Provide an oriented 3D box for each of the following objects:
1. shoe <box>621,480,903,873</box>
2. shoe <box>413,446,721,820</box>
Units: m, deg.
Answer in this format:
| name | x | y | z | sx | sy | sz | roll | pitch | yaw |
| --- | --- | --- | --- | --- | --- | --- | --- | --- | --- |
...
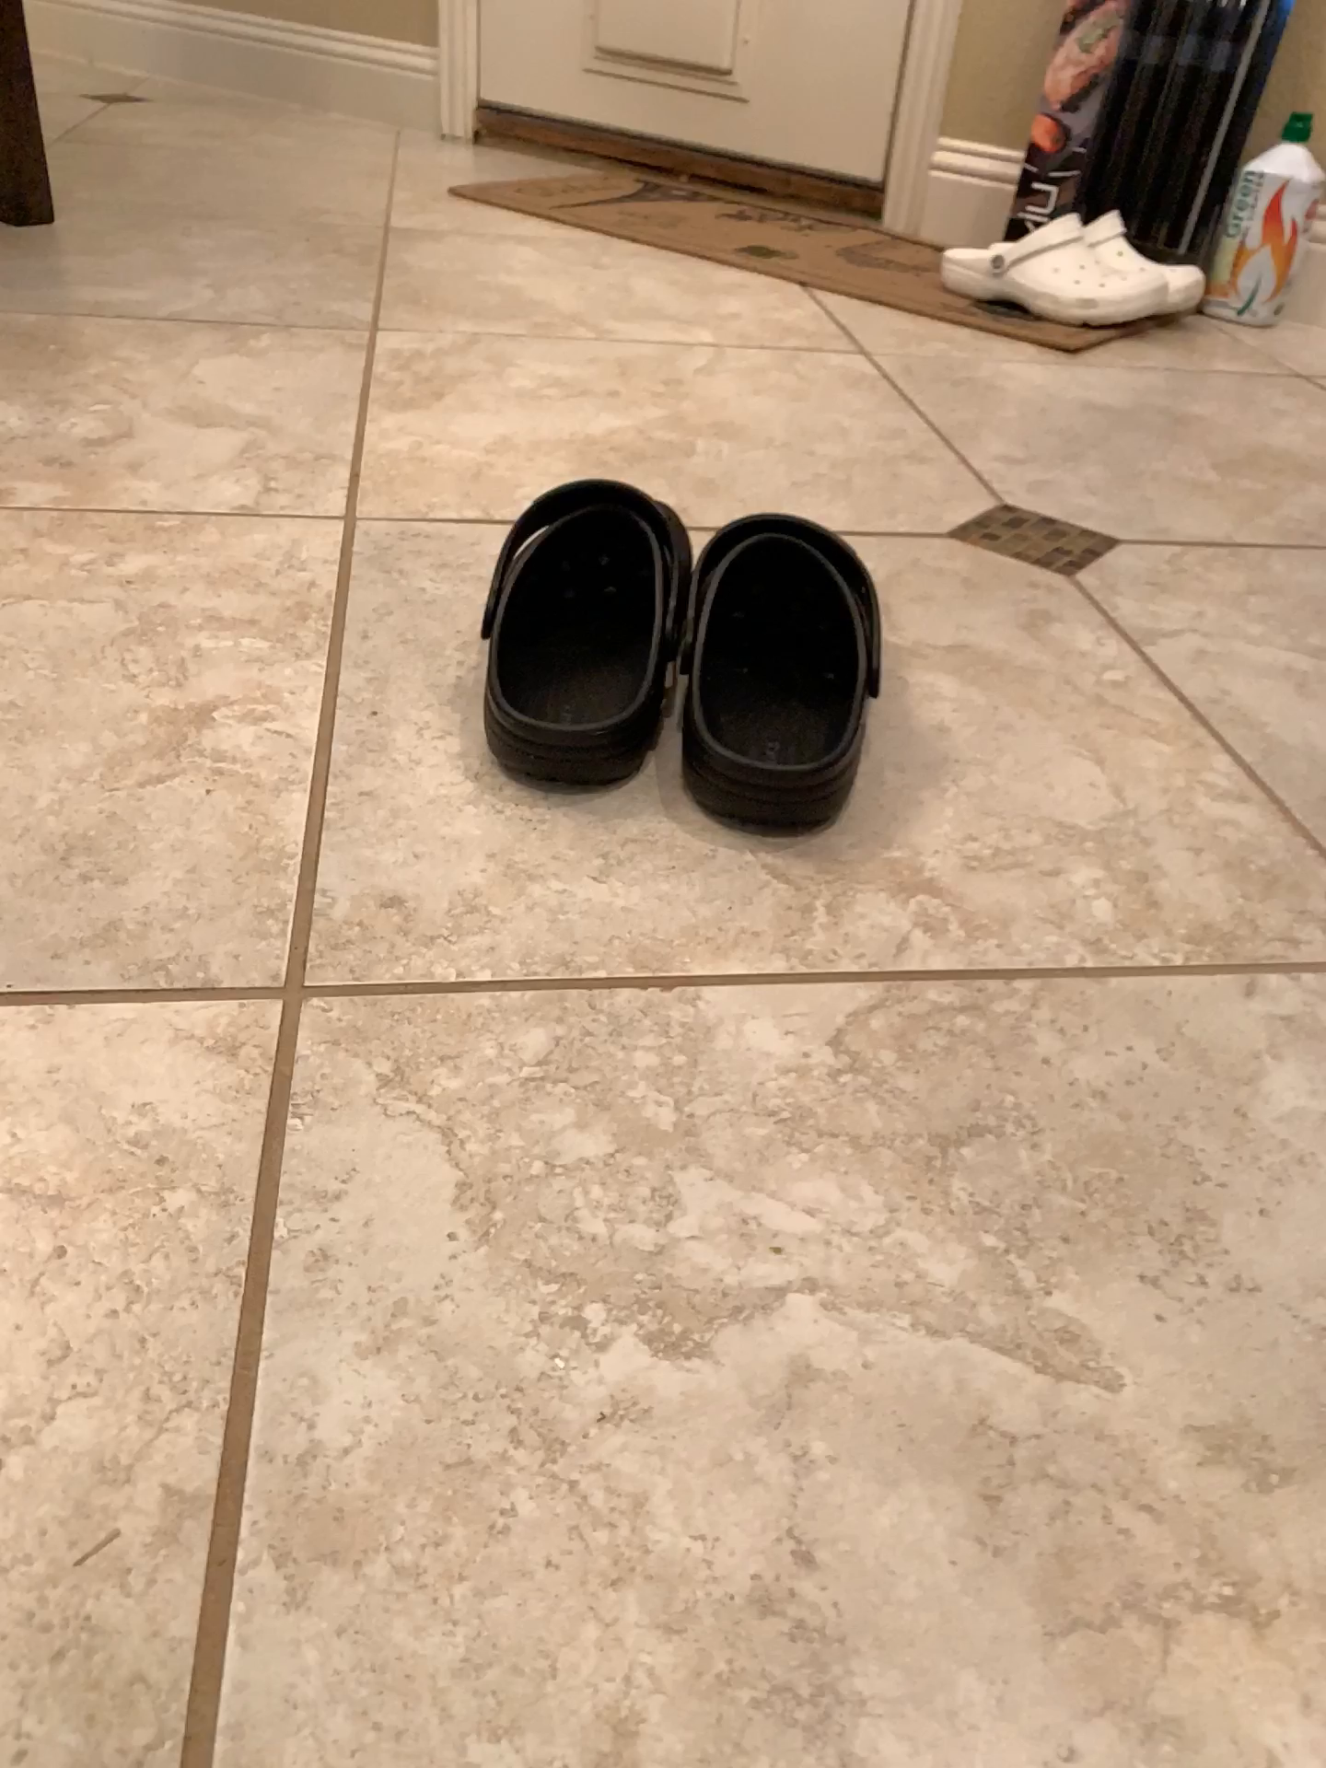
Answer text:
| name | x | y | z | sx | sy | sz | roll | pitch | yaw |
| --- | --- | --- | --- | --- | --- | --- | --- | --- | --- |
| shoe | 0.062 | -0.126 | 0.739 | 0.113 | 0.085 | 0.279 | 10 | 35 | 5 |
| shoe | -0.043 | -0.152 | 0.755 | 0.123 | 0.085 | 0.280 | 7 | 35 | 2 |
